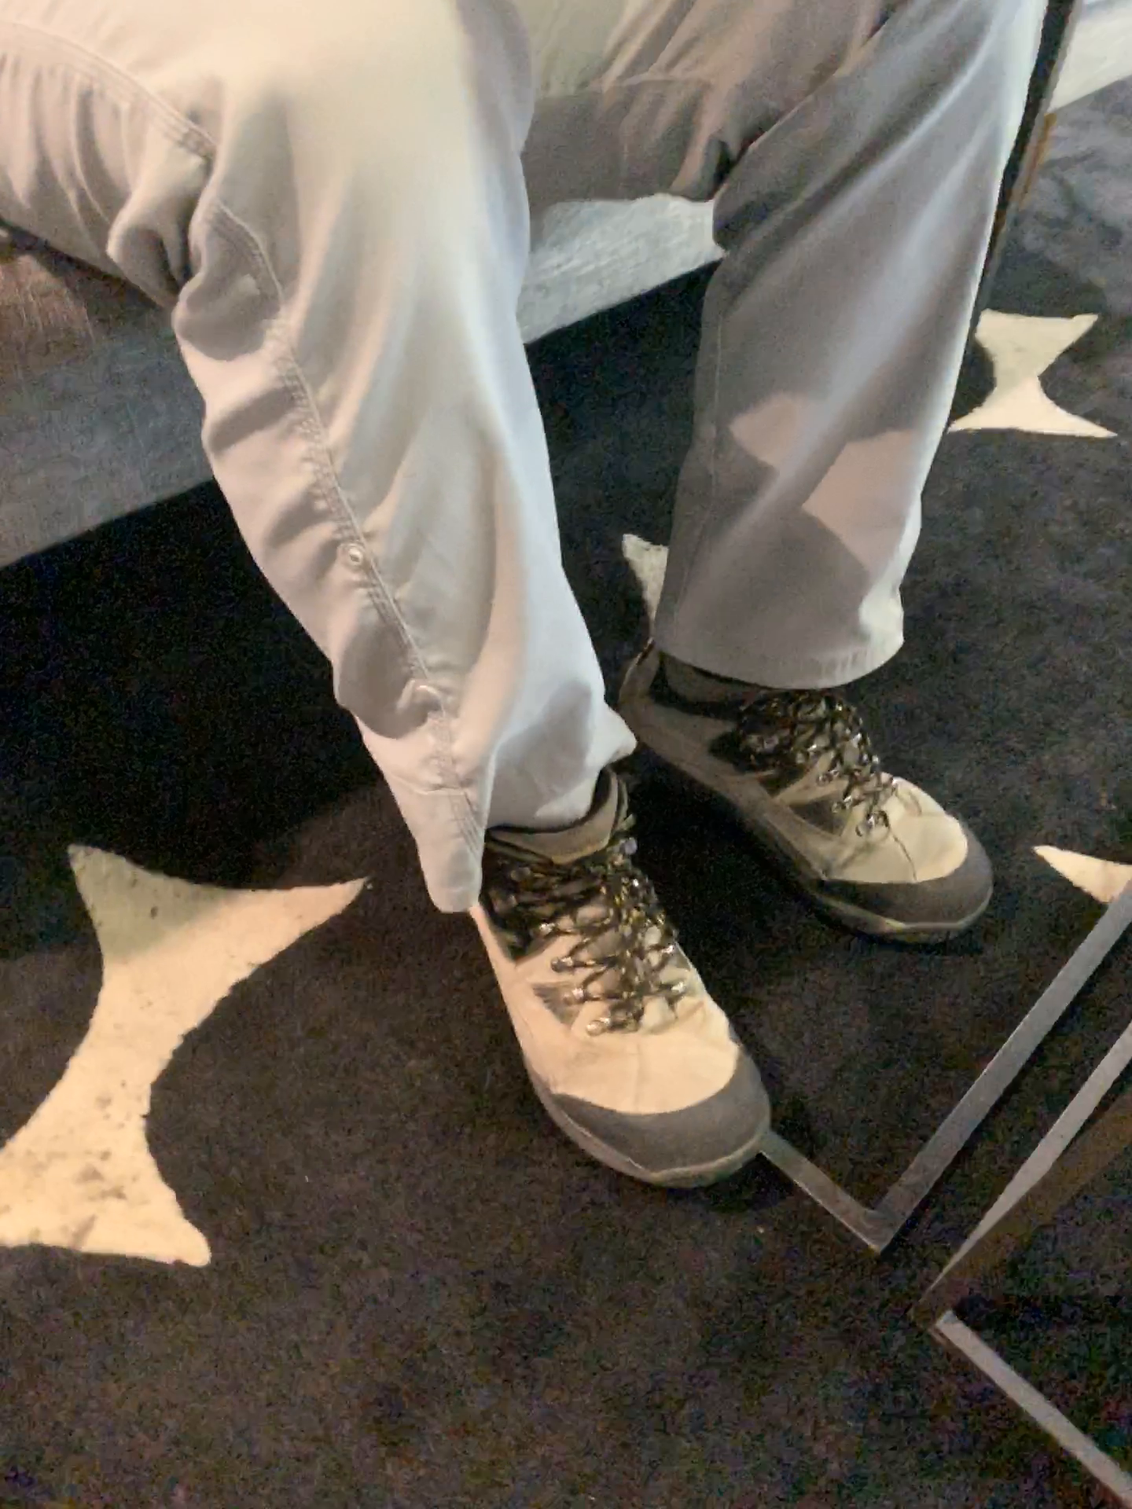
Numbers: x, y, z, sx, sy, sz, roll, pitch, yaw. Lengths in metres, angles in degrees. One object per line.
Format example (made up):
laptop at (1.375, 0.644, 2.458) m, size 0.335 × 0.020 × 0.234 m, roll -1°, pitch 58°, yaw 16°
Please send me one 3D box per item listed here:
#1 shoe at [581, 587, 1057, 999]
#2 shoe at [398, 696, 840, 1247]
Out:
shoe at (0.164, 0.015, 0.815) m, size 0.304 × 0.080 × 0.121 m, roll 38°, pitch 57°, yaw 25°
shoe at (0.016, 0.115, 0.683) m, size 0.123 × 0.090 × 0.286 m, roll -21°, pitch 58°, yaw -20°
